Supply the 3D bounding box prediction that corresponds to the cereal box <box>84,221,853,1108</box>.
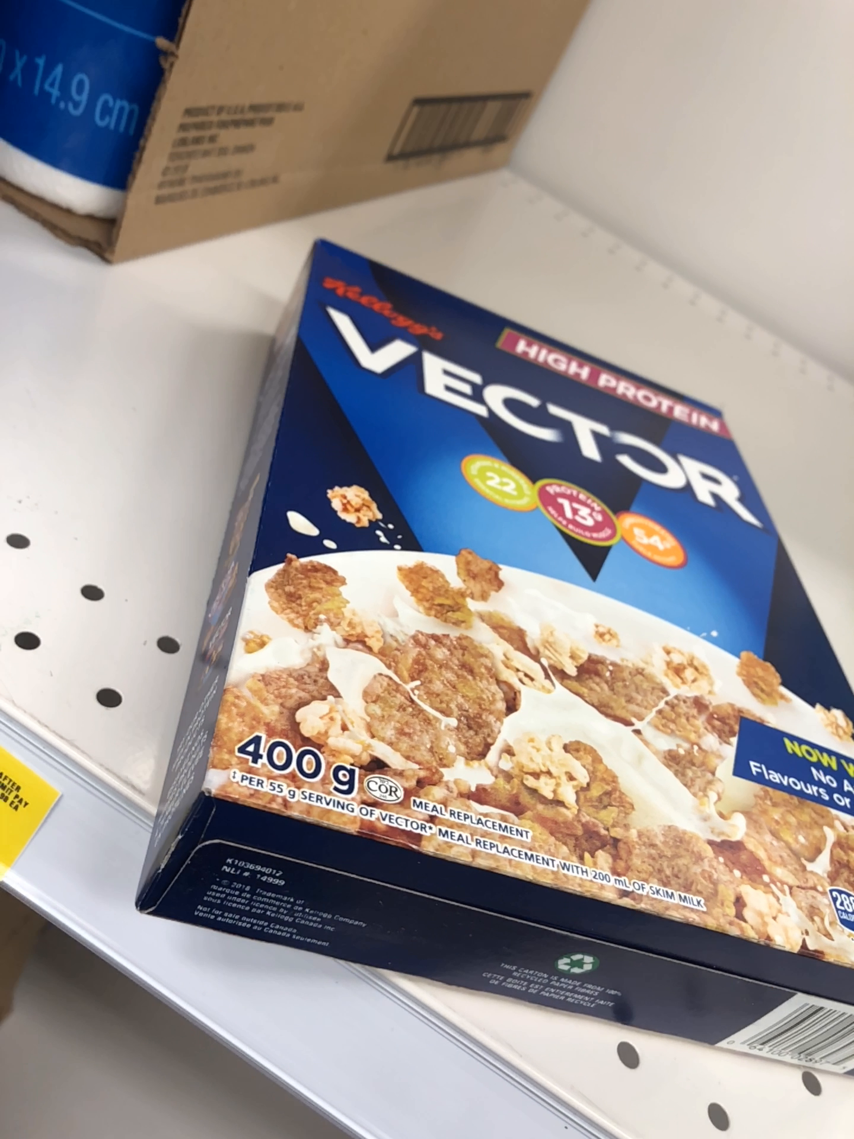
[{"bbox_3d":[0.034,-0.001,0.320,0.210,0.050,0.291,20,34,-17],"label":"cereal box"}]
